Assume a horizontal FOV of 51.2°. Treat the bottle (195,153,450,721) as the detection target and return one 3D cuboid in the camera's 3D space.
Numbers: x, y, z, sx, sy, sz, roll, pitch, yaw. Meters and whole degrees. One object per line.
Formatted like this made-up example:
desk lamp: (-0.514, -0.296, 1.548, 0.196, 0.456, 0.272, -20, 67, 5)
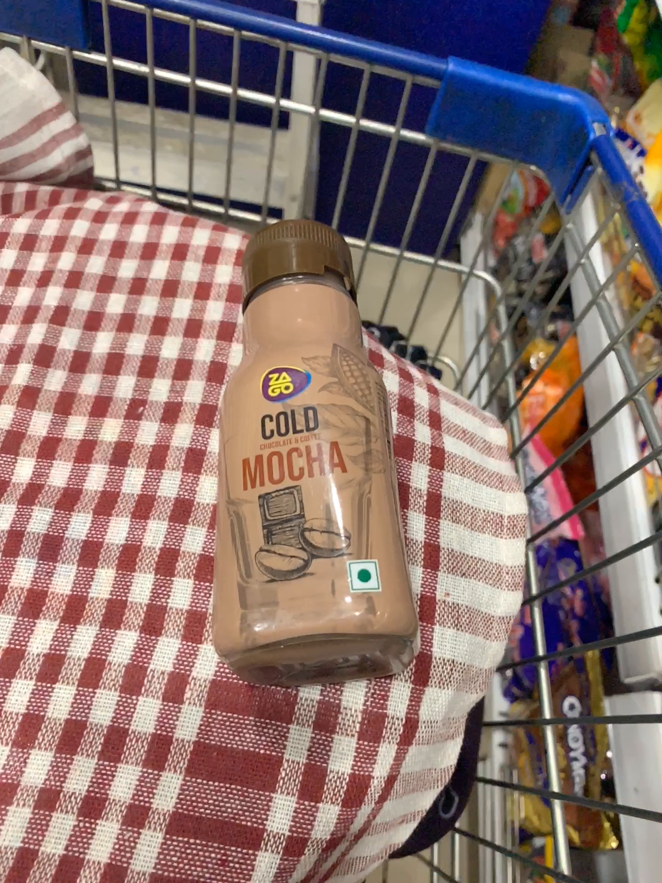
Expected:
bottle: (-0.004, -0.004, 0.230, 0.060, 0.070, 0.170, -7, 63, 4)
